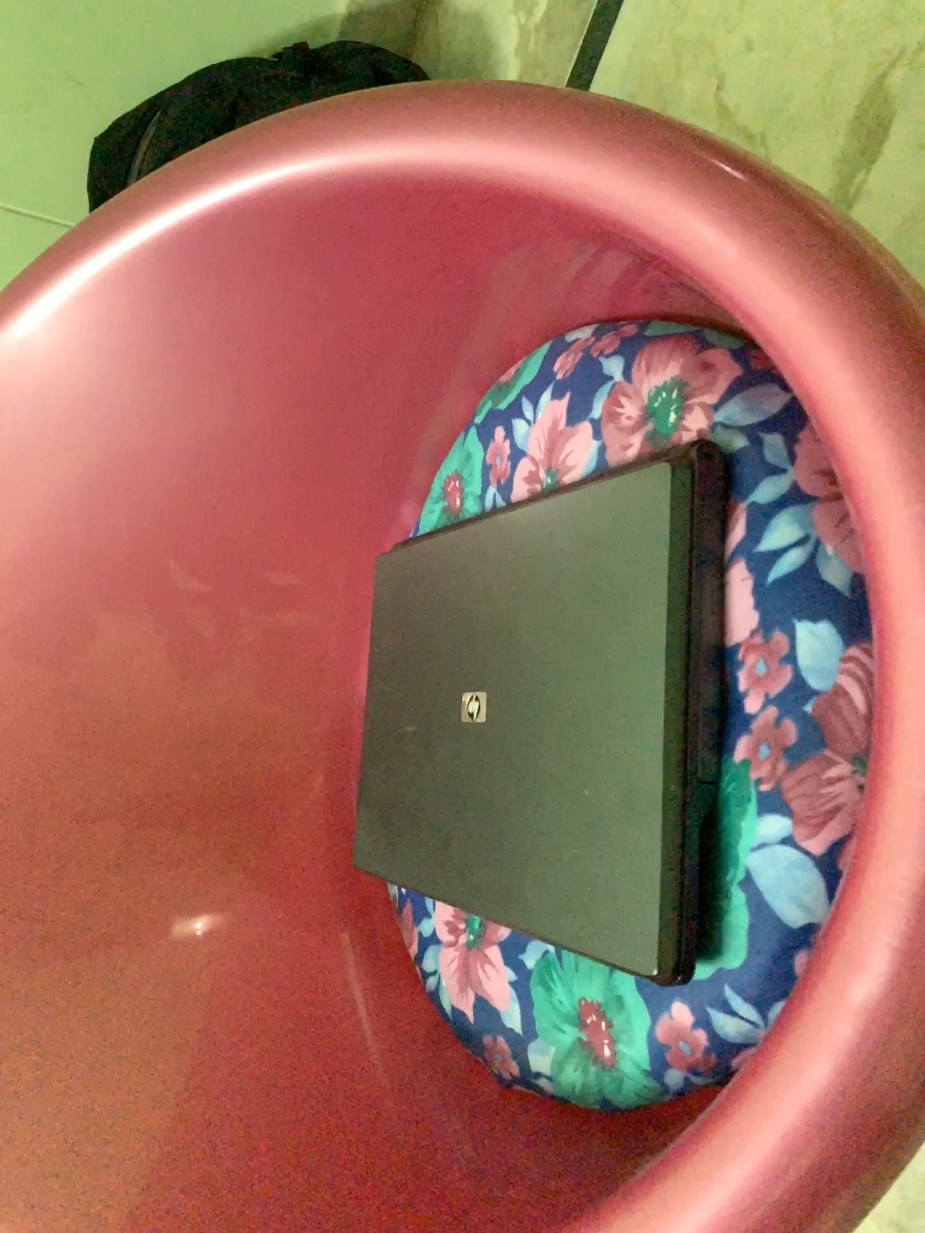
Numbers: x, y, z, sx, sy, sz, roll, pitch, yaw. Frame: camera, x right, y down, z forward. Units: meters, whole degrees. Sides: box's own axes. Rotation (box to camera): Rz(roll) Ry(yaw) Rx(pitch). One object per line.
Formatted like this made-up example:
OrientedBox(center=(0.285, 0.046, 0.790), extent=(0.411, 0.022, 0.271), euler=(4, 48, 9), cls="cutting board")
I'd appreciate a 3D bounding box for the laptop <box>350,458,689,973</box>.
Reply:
OrientedBox(center=(0.012, 0.051, 0.536), extent=(0.305, 0.003, 0.222), euler=(-8, 77, 57), cls="laptop")
